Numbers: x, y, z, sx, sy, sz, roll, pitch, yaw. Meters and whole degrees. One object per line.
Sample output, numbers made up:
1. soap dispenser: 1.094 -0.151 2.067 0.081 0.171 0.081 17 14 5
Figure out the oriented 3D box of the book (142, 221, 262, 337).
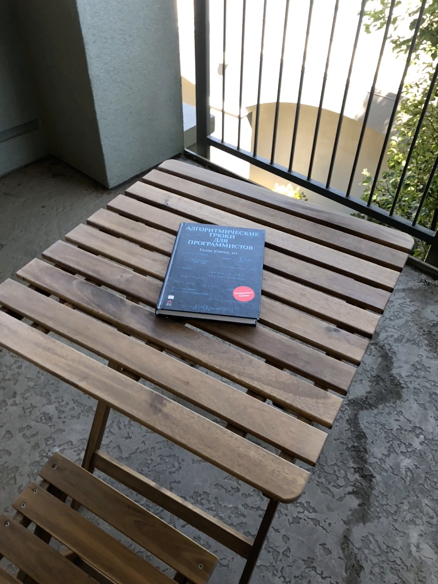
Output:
1. book: -0.020 -0.033 0.867 0.180 0.030 0.251 5 45 4
